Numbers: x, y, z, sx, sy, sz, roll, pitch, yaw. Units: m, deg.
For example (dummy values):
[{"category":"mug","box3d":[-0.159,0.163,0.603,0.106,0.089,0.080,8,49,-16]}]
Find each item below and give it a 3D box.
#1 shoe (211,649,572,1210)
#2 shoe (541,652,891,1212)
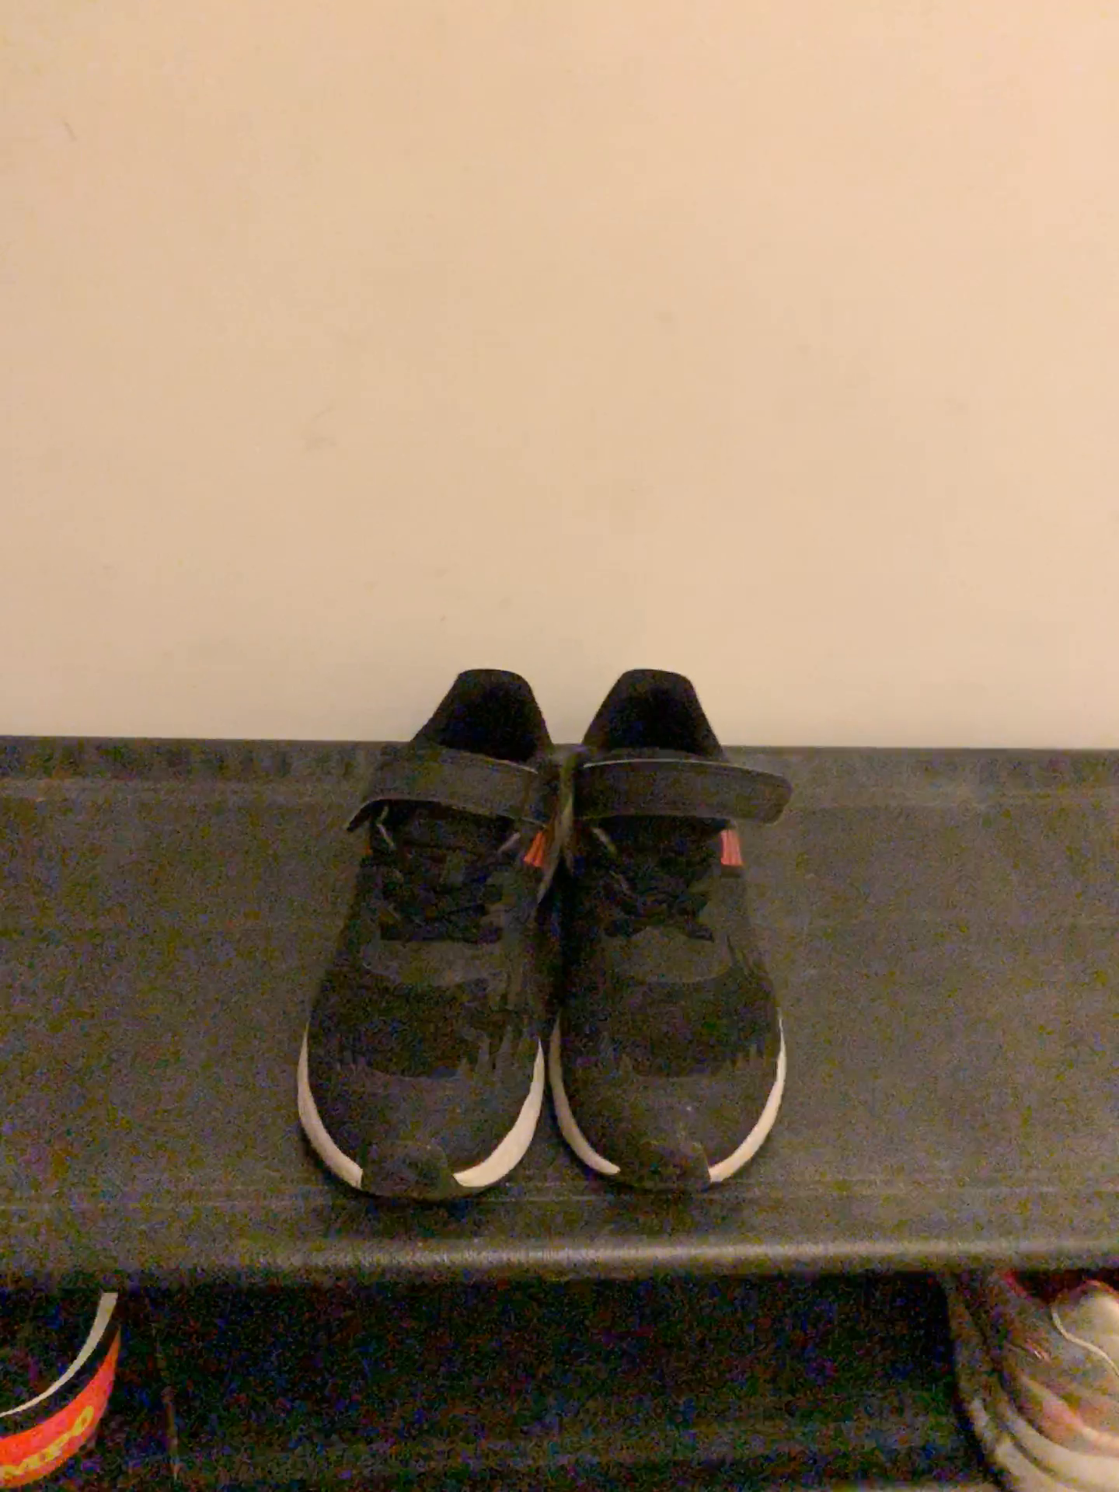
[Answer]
[{"category":"shoe","box3d":[-0.047,0.051,0.418,0.090,0.079,0.202,5,33,0]},{"category":"shoe","box3d":[0.042,0.052,0.415,0.090,0.079,0.202,3,33,-2]}]
